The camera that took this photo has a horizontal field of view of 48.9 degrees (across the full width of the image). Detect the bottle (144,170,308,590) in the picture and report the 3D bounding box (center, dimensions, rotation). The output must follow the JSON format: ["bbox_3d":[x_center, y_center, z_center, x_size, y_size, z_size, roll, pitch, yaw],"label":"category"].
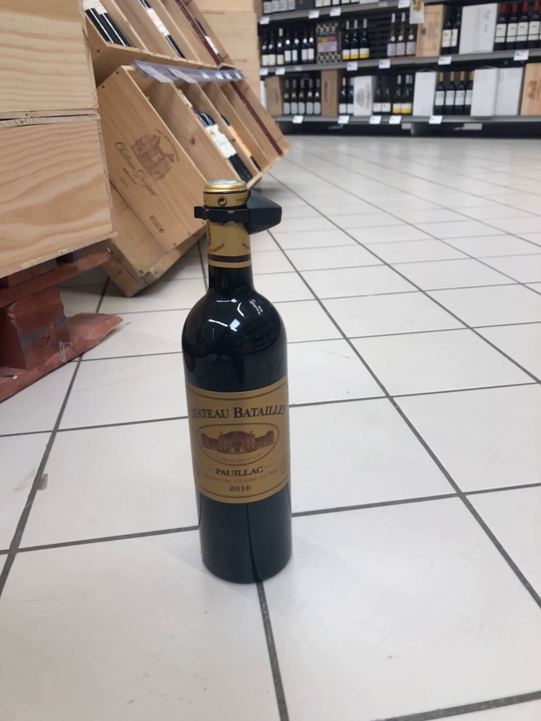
[{"bbox_3d":[-0.022,0.019,0.431,0.090,0.289,0.090,-2,23,1],"label":"bottle"}]
